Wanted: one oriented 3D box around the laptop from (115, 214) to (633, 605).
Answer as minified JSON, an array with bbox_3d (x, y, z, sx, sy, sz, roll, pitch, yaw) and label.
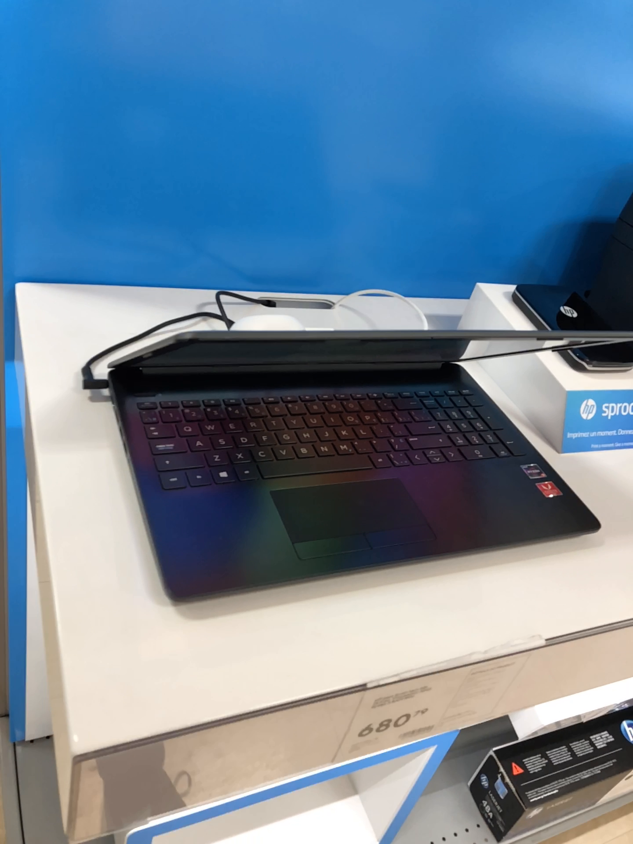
[{"bbox_3d":[0.056,-0.031,0.527,0.355,0.130,0.243,-3,38,-29],"label":"laptop"}]
